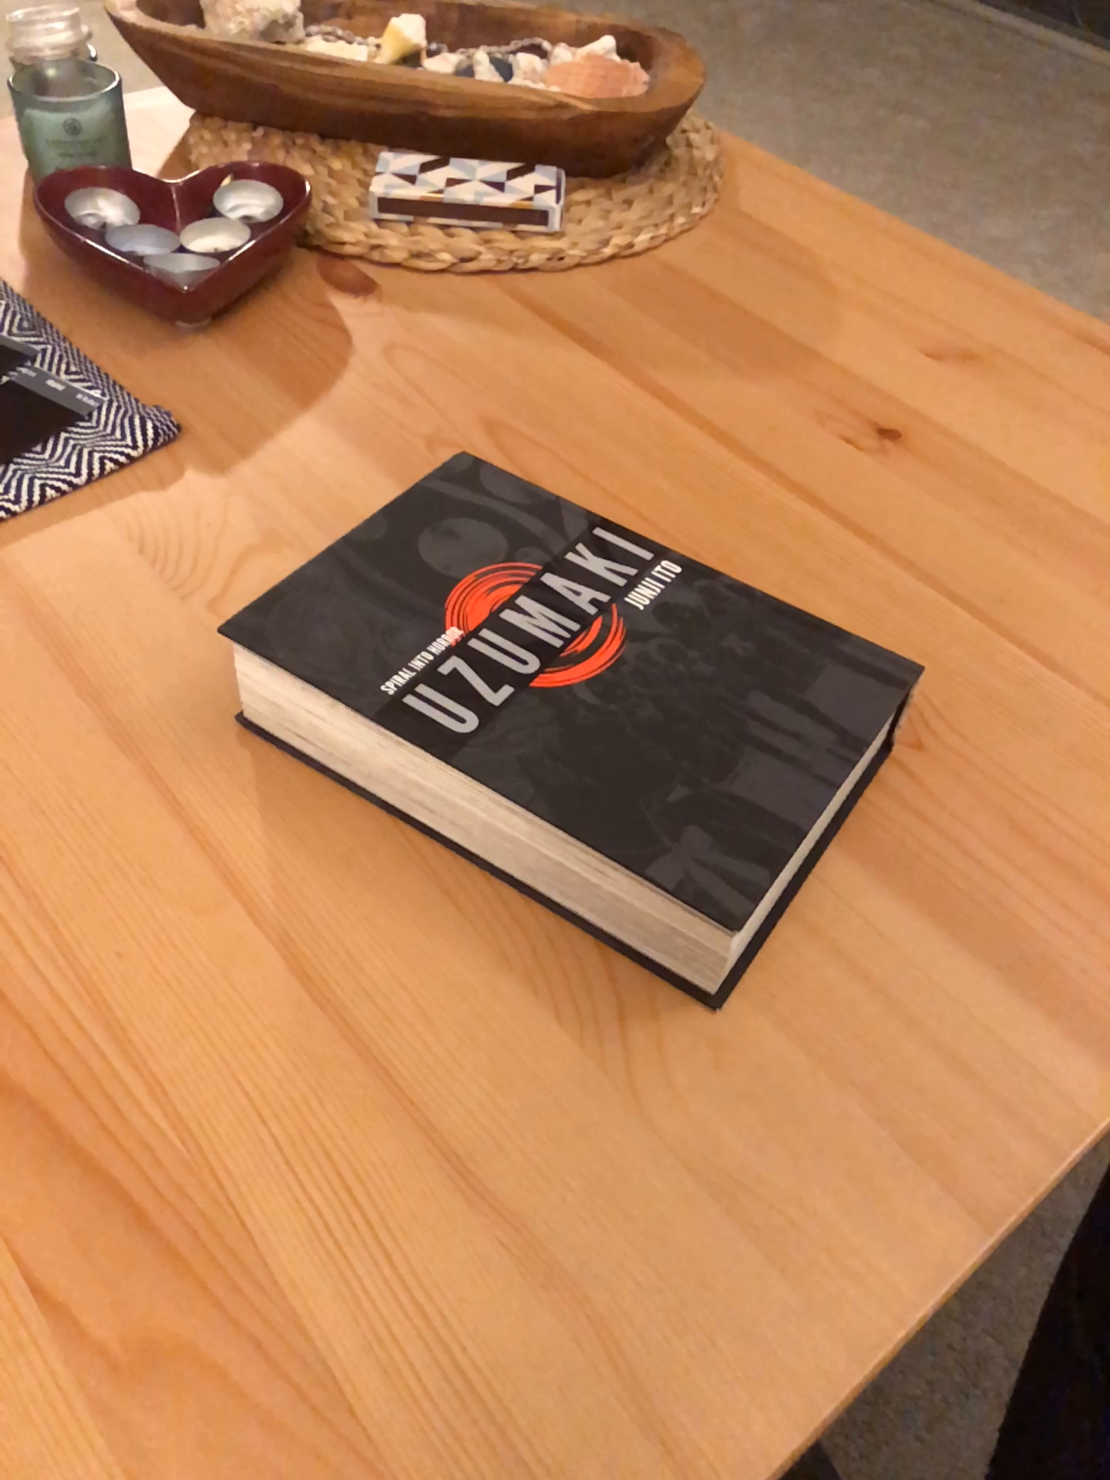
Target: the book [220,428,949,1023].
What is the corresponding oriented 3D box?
[{"bbox_3d":[0.012,-0.020,0.445,0.204,0.048,0.157,29,51,19],"label":"book"}]
